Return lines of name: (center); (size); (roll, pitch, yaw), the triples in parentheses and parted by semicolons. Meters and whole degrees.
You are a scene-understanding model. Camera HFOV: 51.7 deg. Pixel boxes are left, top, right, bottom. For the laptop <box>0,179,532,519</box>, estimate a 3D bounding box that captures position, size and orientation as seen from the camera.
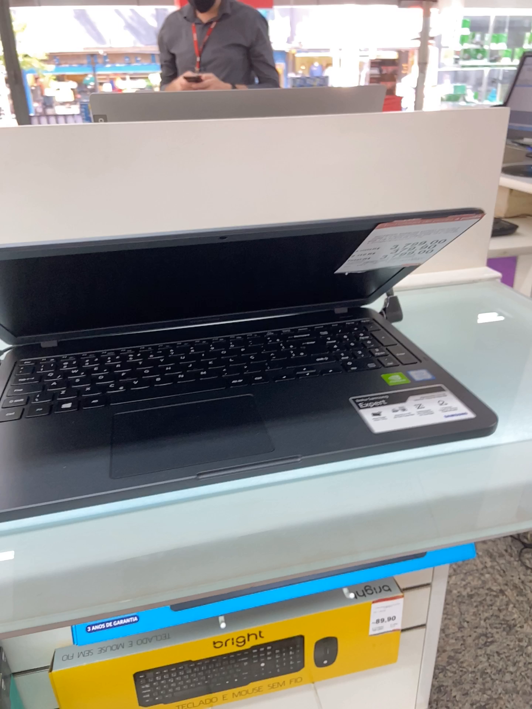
laptop: (-0.039, -0.040, 0.441); (0.377, 0.140, 0.240); (-7, 27, -12)
